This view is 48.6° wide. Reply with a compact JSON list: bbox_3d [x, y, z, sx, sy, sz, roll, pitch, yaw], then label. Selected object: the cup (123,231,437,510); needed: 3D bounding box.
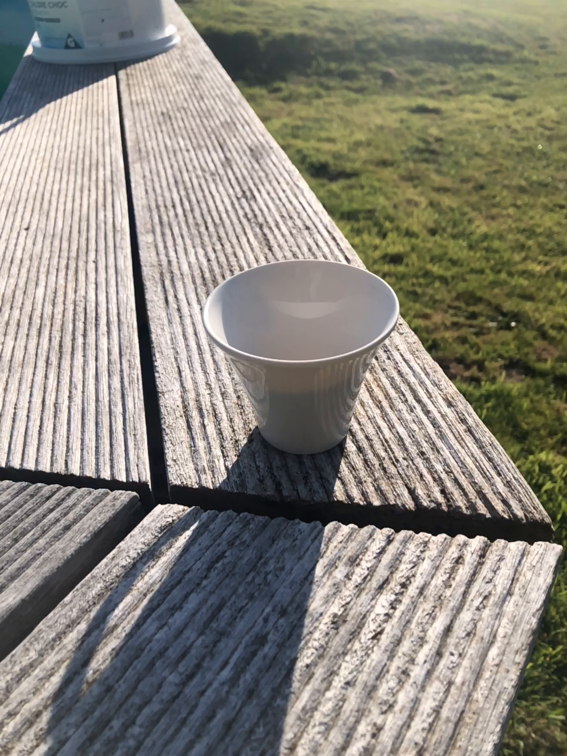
[{"bbox_3d":[-0.002,-0.011,0.260,0.097,0.053,0.077,30,47,35],"label":"cup"}]
